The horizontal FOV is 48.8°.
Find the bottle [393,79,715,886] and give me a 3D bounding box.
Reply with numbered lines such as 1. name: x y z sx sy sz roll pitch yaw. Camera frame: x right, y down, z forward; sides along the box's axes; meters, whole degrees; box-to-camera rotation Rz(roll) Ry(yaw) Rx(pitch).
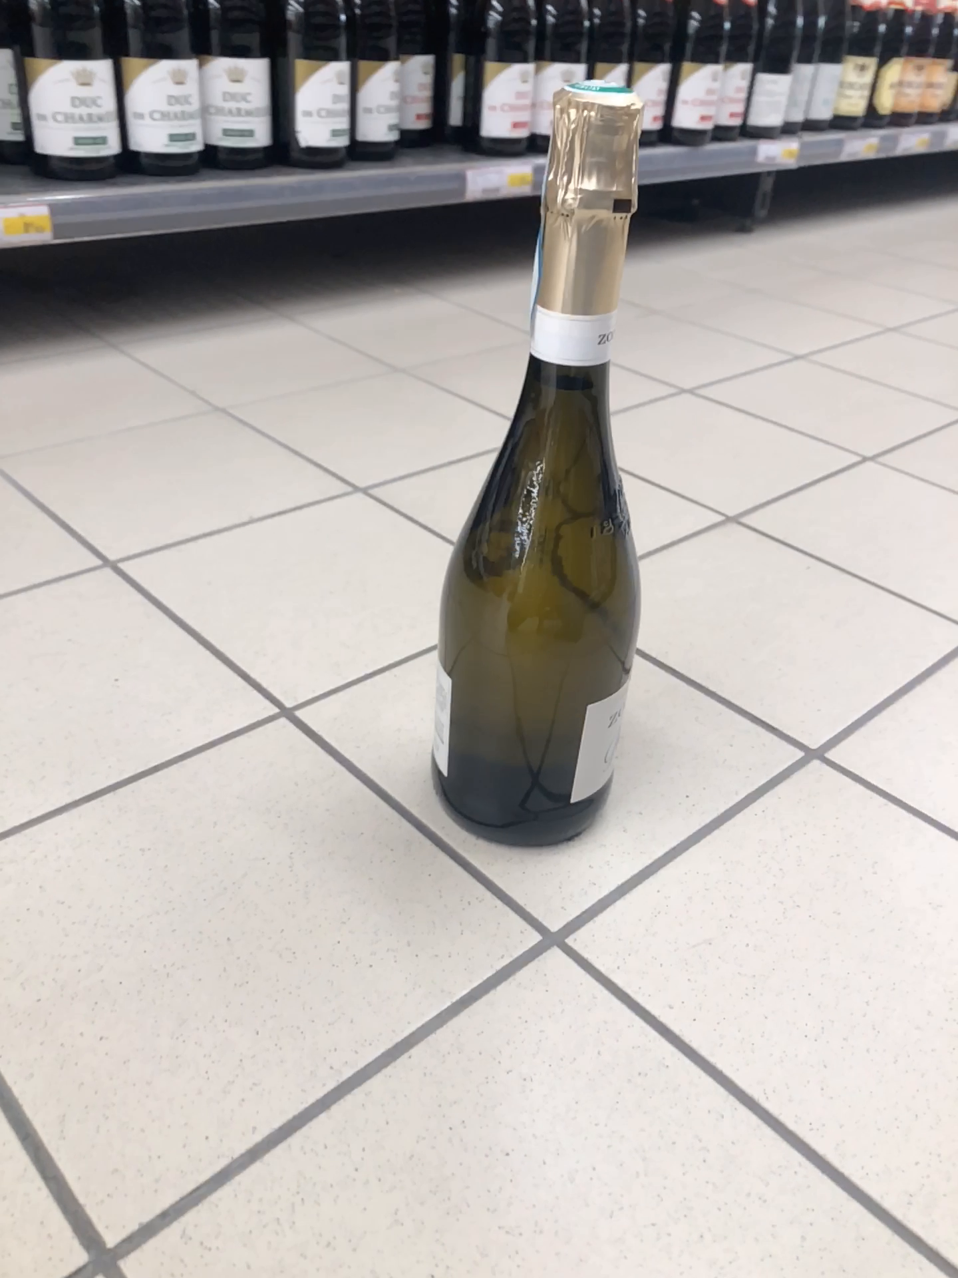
1. bottle: 0.024 -0.053 0.441 0.090 0.308 0.101 8 31 6
